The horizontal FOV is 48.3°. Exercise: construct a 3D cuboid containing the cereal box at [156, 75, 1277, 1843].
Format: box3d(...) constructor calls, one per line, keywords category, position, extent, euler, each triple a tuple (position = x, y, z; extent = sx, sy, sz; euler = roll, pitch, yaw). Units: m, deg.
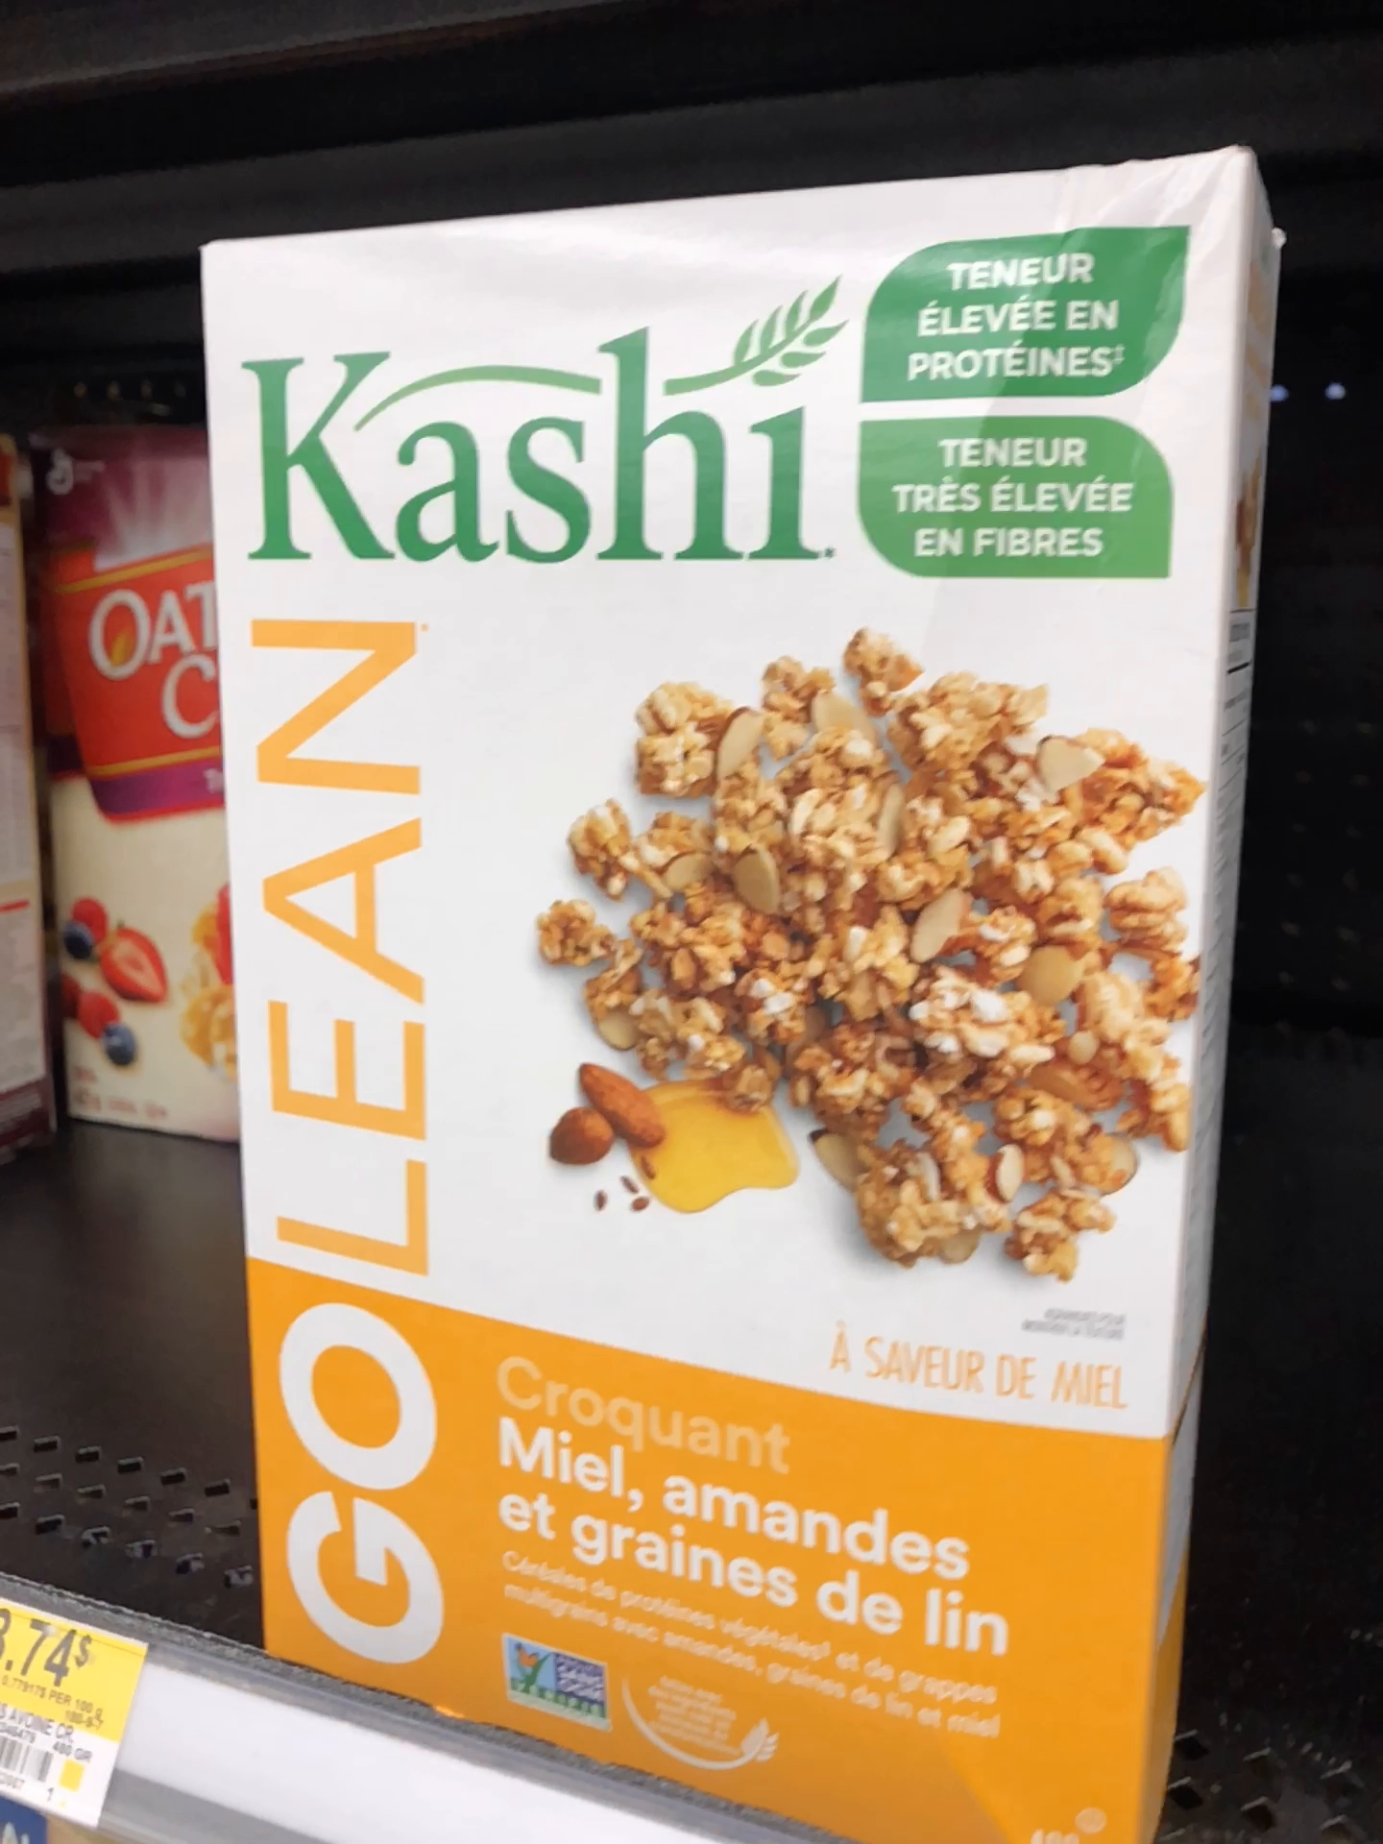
box3d(category="cereal box", position=(0.000, 0.016, 0.269), extent=(0.170, 0.269, 0.050), euler=(5, 12, 23))
